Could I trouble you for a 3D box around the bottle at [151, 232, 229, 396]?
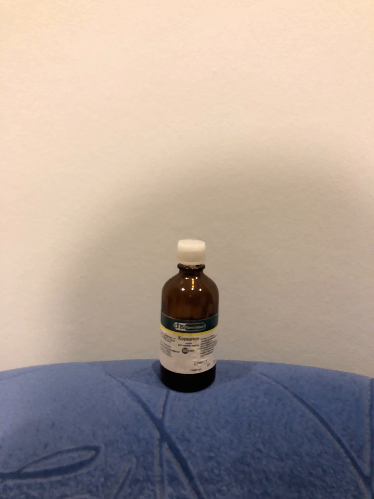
[{"bbox_3d":[0.000,0.042,0.276,0.045,0.100,0.040,2,11,-3],"label":"bottle"}]
